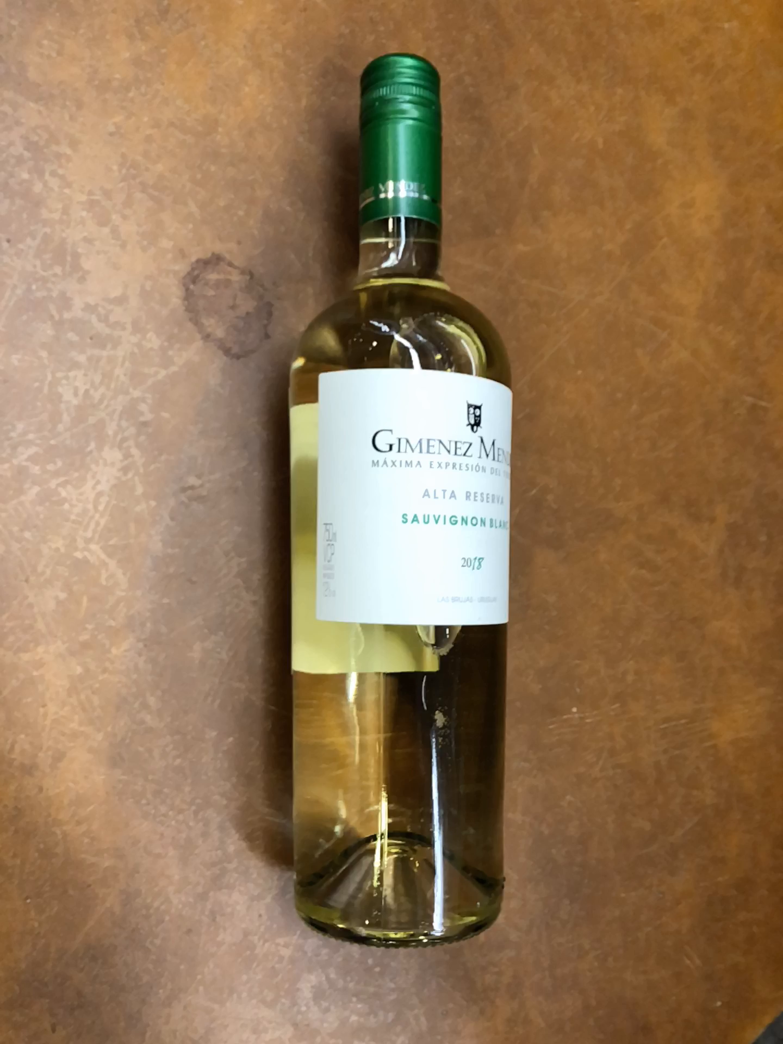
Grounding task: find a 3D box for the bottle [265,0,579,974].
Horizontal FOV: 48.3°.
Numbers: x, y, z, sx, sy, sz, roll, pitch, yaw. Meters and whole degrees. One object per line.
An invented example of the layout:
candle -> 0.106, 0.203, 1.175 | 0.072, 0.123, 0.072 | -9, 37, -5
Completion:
bottle -> 0.008, -0.020, 0.296 | 0.090, 0.050, 0.300 | 2, 85, -21
